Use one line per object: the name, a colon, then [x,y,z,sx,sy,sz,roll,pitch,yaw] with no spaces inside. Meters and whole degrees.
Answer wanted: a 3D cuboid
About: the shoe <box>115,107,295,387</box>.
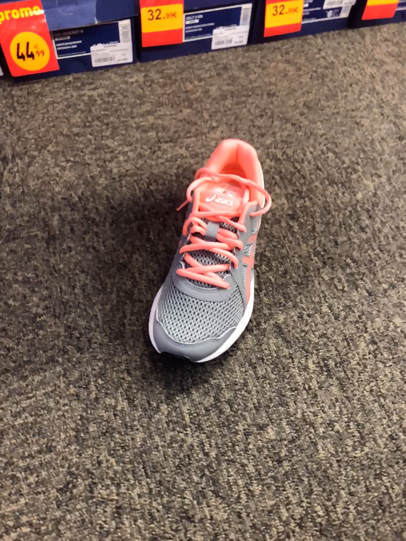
shoe: [0.011,-0.032,0.459,0.110,0.110,0.251,13,58,4]
